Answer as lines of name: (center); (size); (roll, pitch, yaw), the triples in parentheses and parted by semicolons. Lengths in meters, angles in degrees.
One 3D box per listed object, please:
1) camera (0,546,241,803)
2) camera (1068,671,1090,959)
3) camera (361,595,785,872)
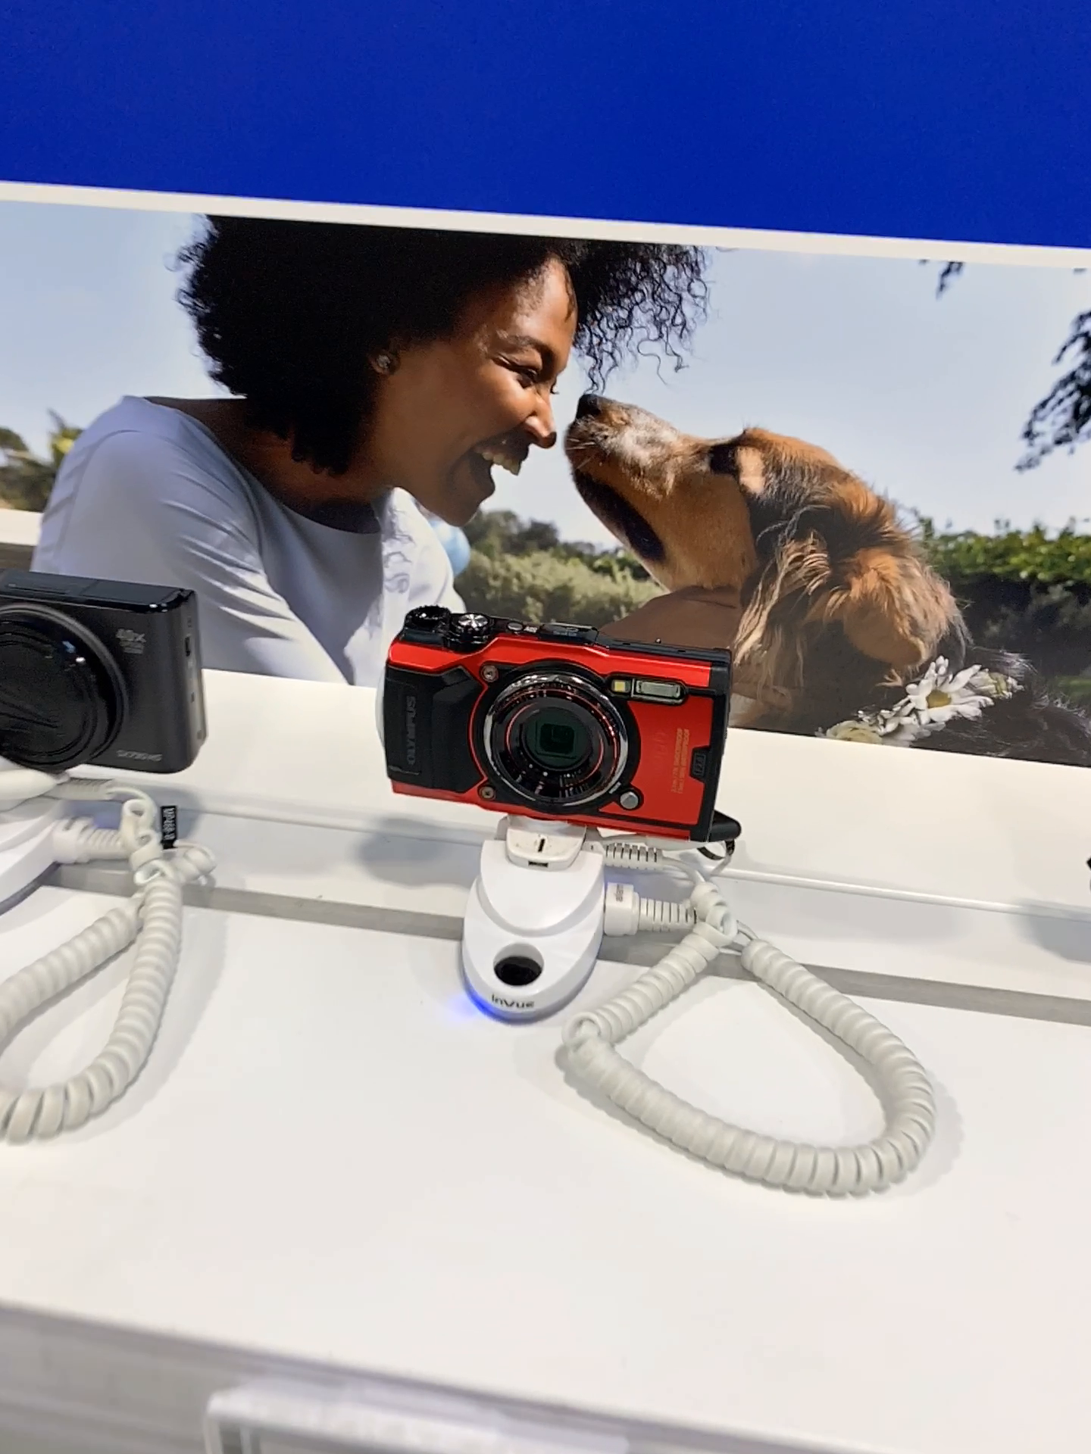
camera: (-0.175, -0.020, 0.392); (0.120, 0.060, 0.050); (7, 28, 7)
camera: (0.238, 0.026, 0.359); (0.110, 0.060, 0.050); (7, 28, 7)
camera: (0.009, 0.000, 0.376); (0.130, 0.060, 0.050); (7, 28, 7)
